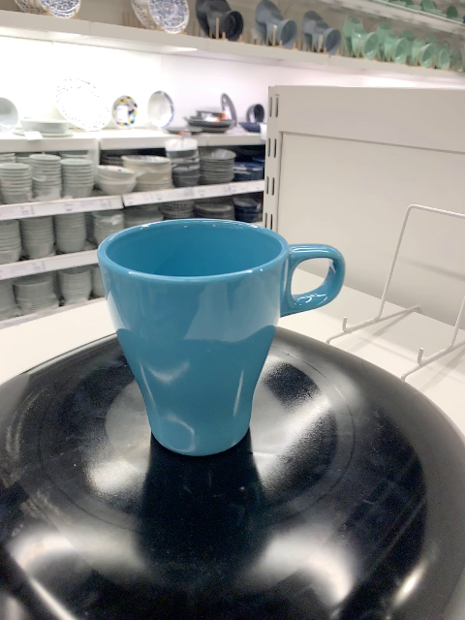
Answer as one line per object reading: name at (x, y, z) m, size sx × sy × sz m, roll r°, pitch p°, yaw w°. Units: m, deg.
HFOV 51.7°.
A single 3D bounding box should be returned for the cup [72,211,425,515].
cup at (0.000, 0.012, 0.249) m, size 0.140 × 0.100 × 0.100 m, roll -7°, pitch 26°, yaw -21°
